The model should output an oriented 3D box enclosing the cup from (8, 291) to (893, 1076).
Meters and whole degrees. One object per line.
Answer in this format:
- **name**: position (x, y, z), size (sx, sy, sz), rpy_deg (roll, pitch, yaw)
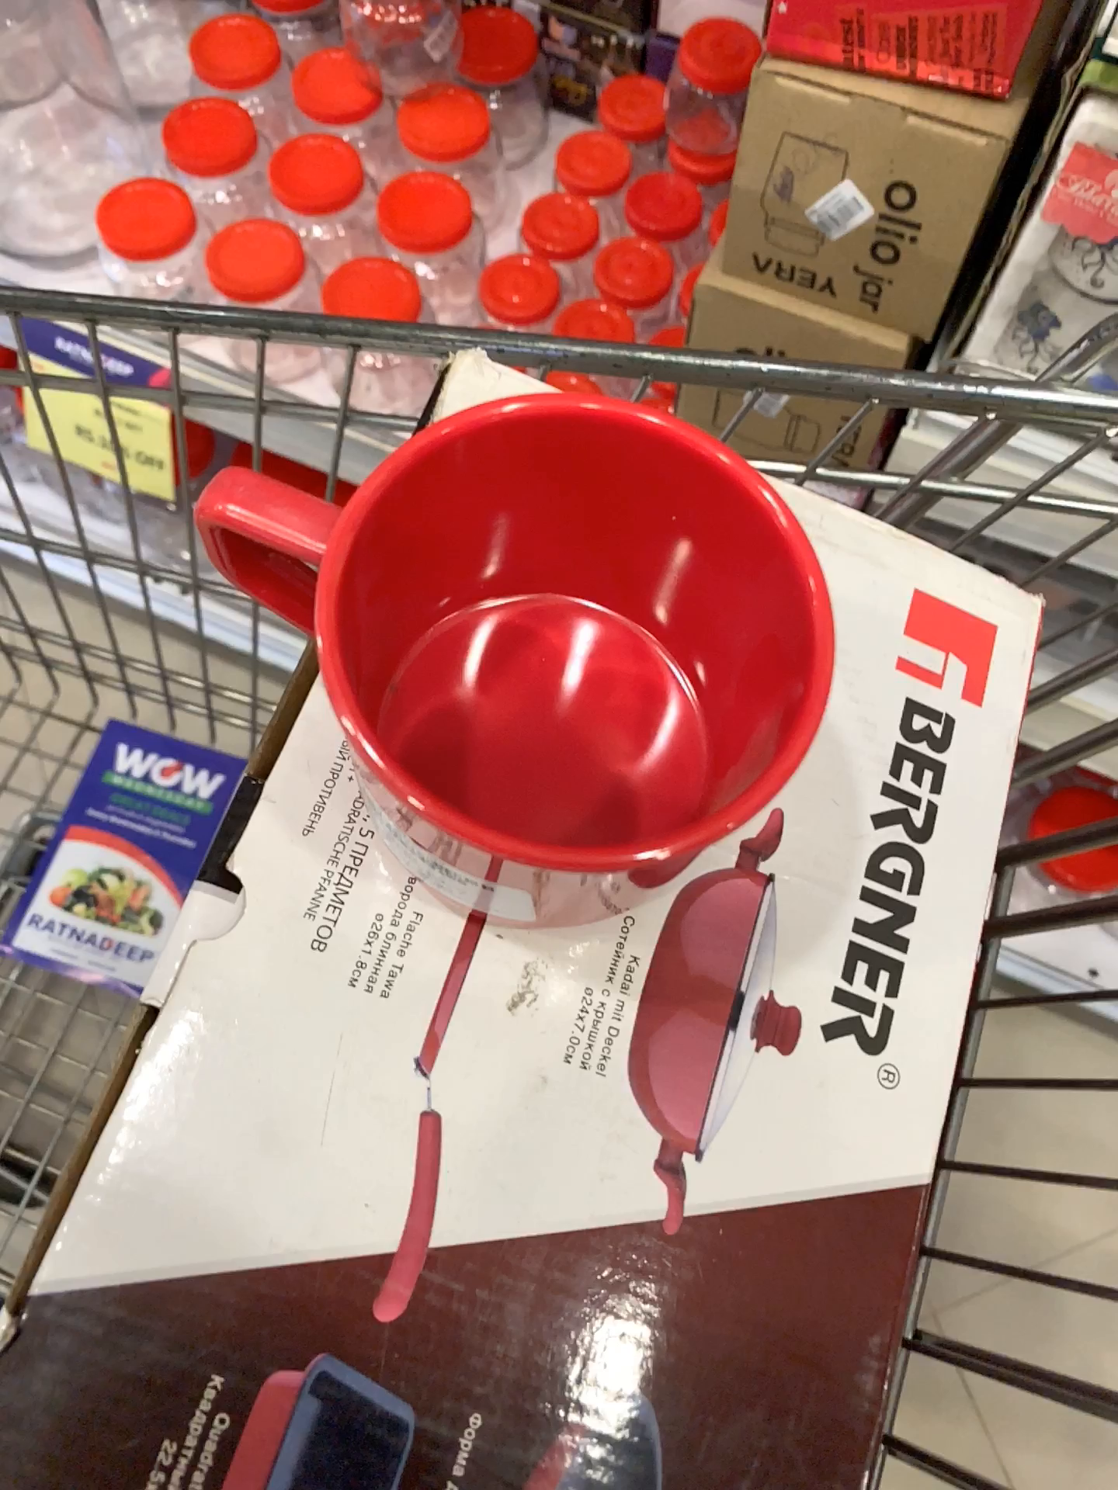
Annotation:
- **cup**: position (-0.013, -0.006, 0.175), size (0.090, 0.060, 0.070), rpy_deg (25, 69, 6)
